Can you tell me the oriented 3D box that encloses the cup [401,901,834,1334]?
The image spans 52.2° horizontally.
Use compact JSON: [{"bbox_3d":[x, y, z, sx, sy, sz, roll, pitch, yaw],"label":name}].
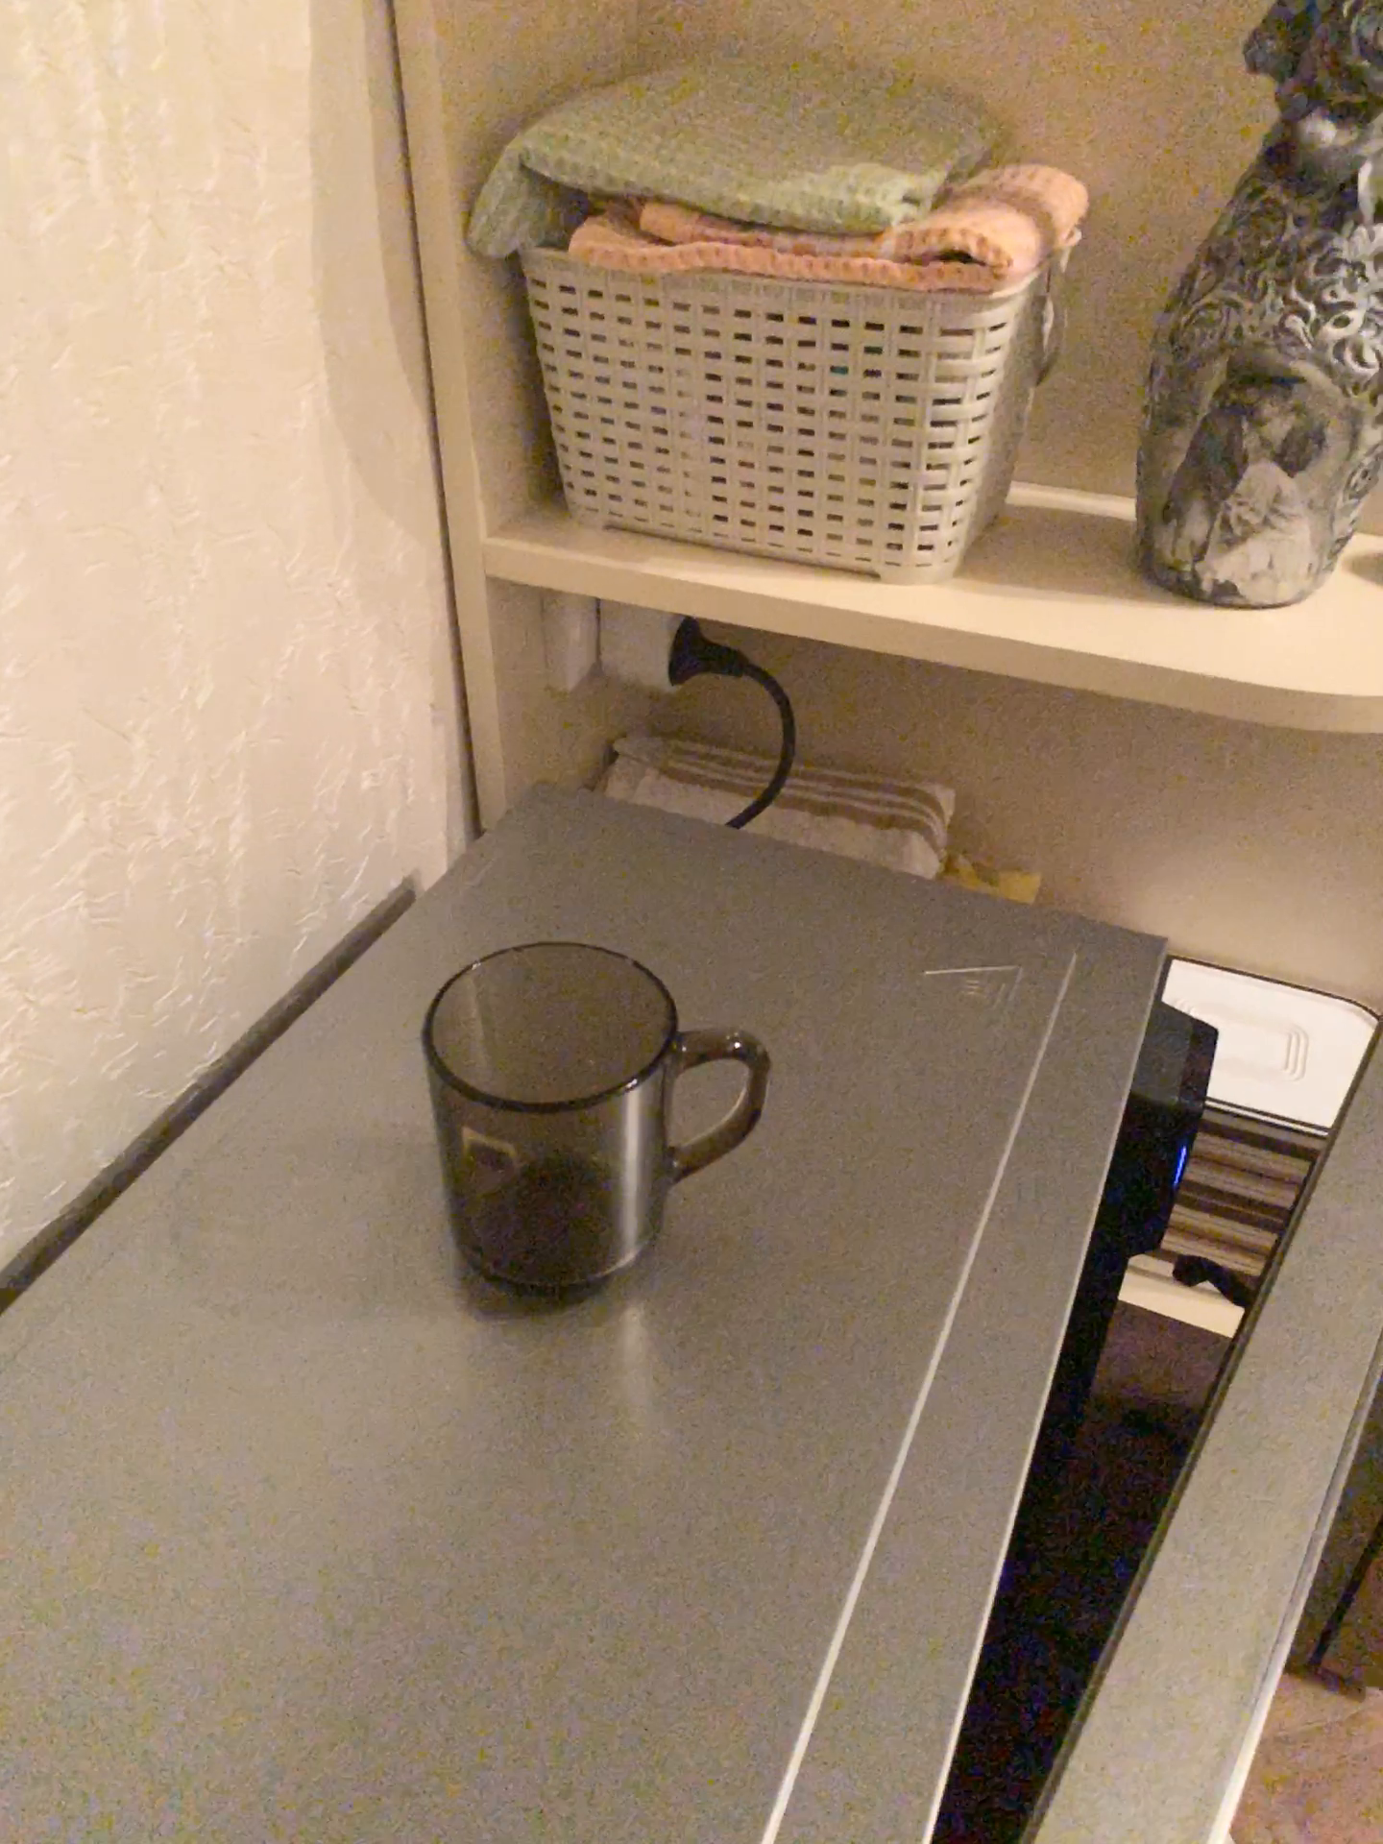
[{"bbox_3d":[-0.025,0.055,0.419,0.110,0.079,0.081,-6,37,-10],"label":"cup"}]
